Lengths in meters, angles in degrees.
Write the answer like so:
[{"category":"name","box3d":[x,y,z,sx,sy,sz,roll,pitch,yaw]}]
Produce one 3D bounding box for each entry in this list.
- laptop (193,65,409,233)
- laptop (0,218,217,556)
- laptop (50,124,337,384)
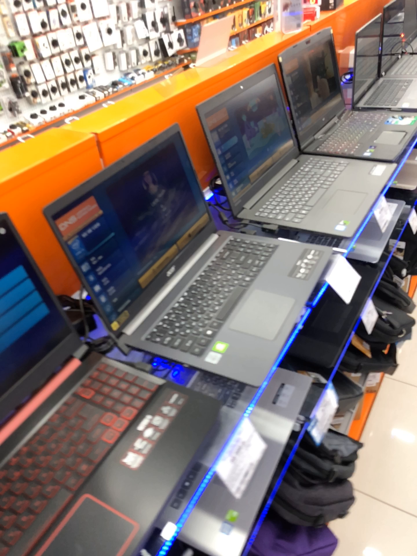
[{"category":"laptop","box3d":[0.218,-0.311,1.014,0.322,0.230,0.350,15,41,27]},{"category":"laptop","box3d":[-0.207,0.123,0.474,0.301,0.230,0.310,11,38,24]},{"category":"laptop","box3d":[0.008,-0.076,0.739,0.303,0.224,0.354,12,40,26]}]
